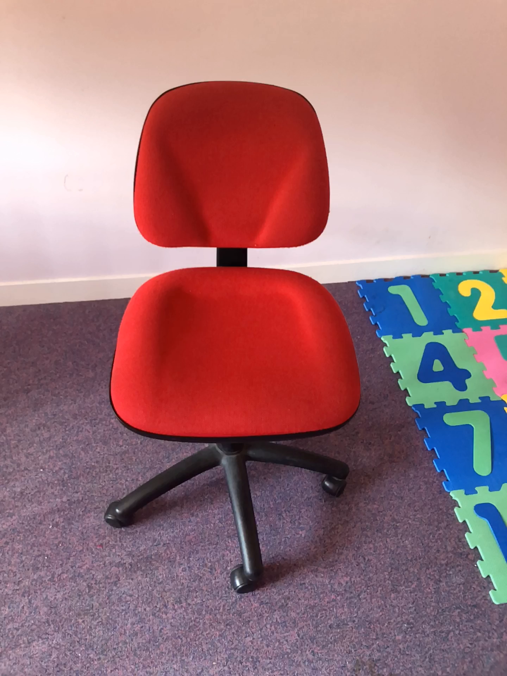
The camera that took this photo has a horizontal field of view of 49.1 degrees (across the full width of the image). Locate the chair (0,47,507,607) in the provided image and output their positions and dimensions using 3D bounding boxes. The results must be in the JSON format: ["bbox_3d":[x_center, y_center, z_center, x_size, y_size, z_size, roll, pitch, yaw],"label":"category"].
[{"bbox_3d":[-0.023,0.027,1.128,0.640,0.895,0.674,0,47,-5],"label":"chair"}]
